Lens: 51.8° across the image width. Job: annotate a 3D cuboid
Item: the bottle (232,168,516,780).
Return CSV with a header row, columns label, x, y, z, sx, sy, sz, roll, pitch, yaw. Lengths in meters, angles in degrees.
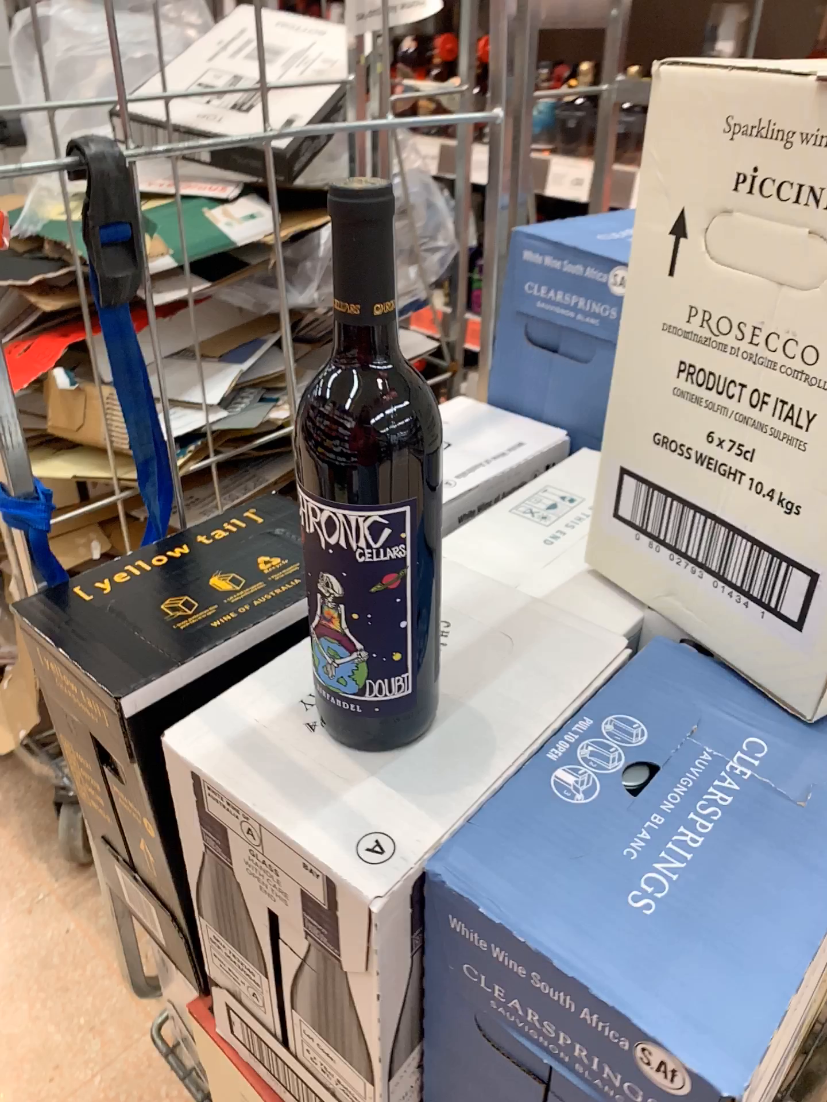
label,x,y,z,sx,sy,sz,roll,pitch,yaw
bottle,-0.018,-0.031,0.432,0.085,0.284,0.085,1,32,-1
